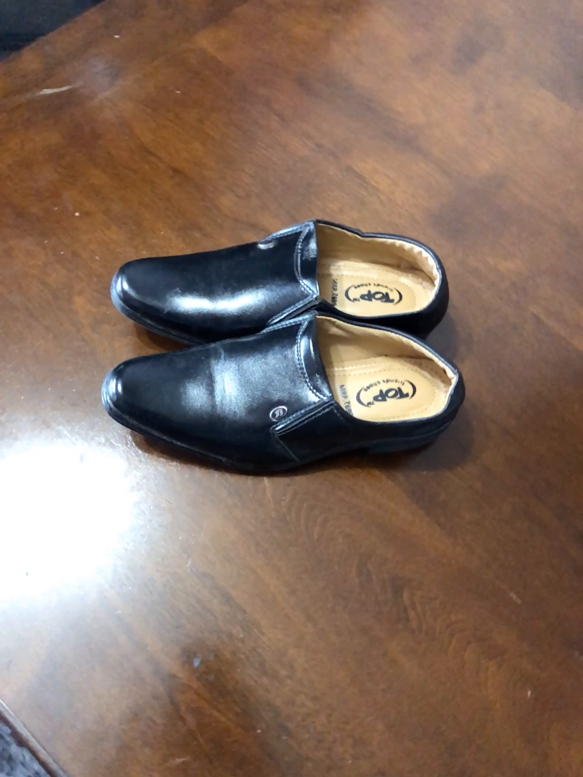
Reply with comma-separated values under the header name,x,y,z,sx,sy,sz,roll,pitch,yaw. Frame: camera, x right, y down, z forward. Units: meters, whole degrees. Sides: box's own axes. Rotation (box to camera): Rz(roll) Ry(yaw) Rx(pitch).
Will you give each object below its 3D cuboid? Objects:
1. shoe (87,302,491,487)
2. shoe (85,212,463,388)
name,x,y,z,sx,sy,sz,roll,pitch,yaw
shoe,-0.004,0.006,0.424,0.230,0.090,0.090,-1,68,-6
shoe,-0.013,-0.059,0.447,0.230,0.080,0.090,-1,68,-6
